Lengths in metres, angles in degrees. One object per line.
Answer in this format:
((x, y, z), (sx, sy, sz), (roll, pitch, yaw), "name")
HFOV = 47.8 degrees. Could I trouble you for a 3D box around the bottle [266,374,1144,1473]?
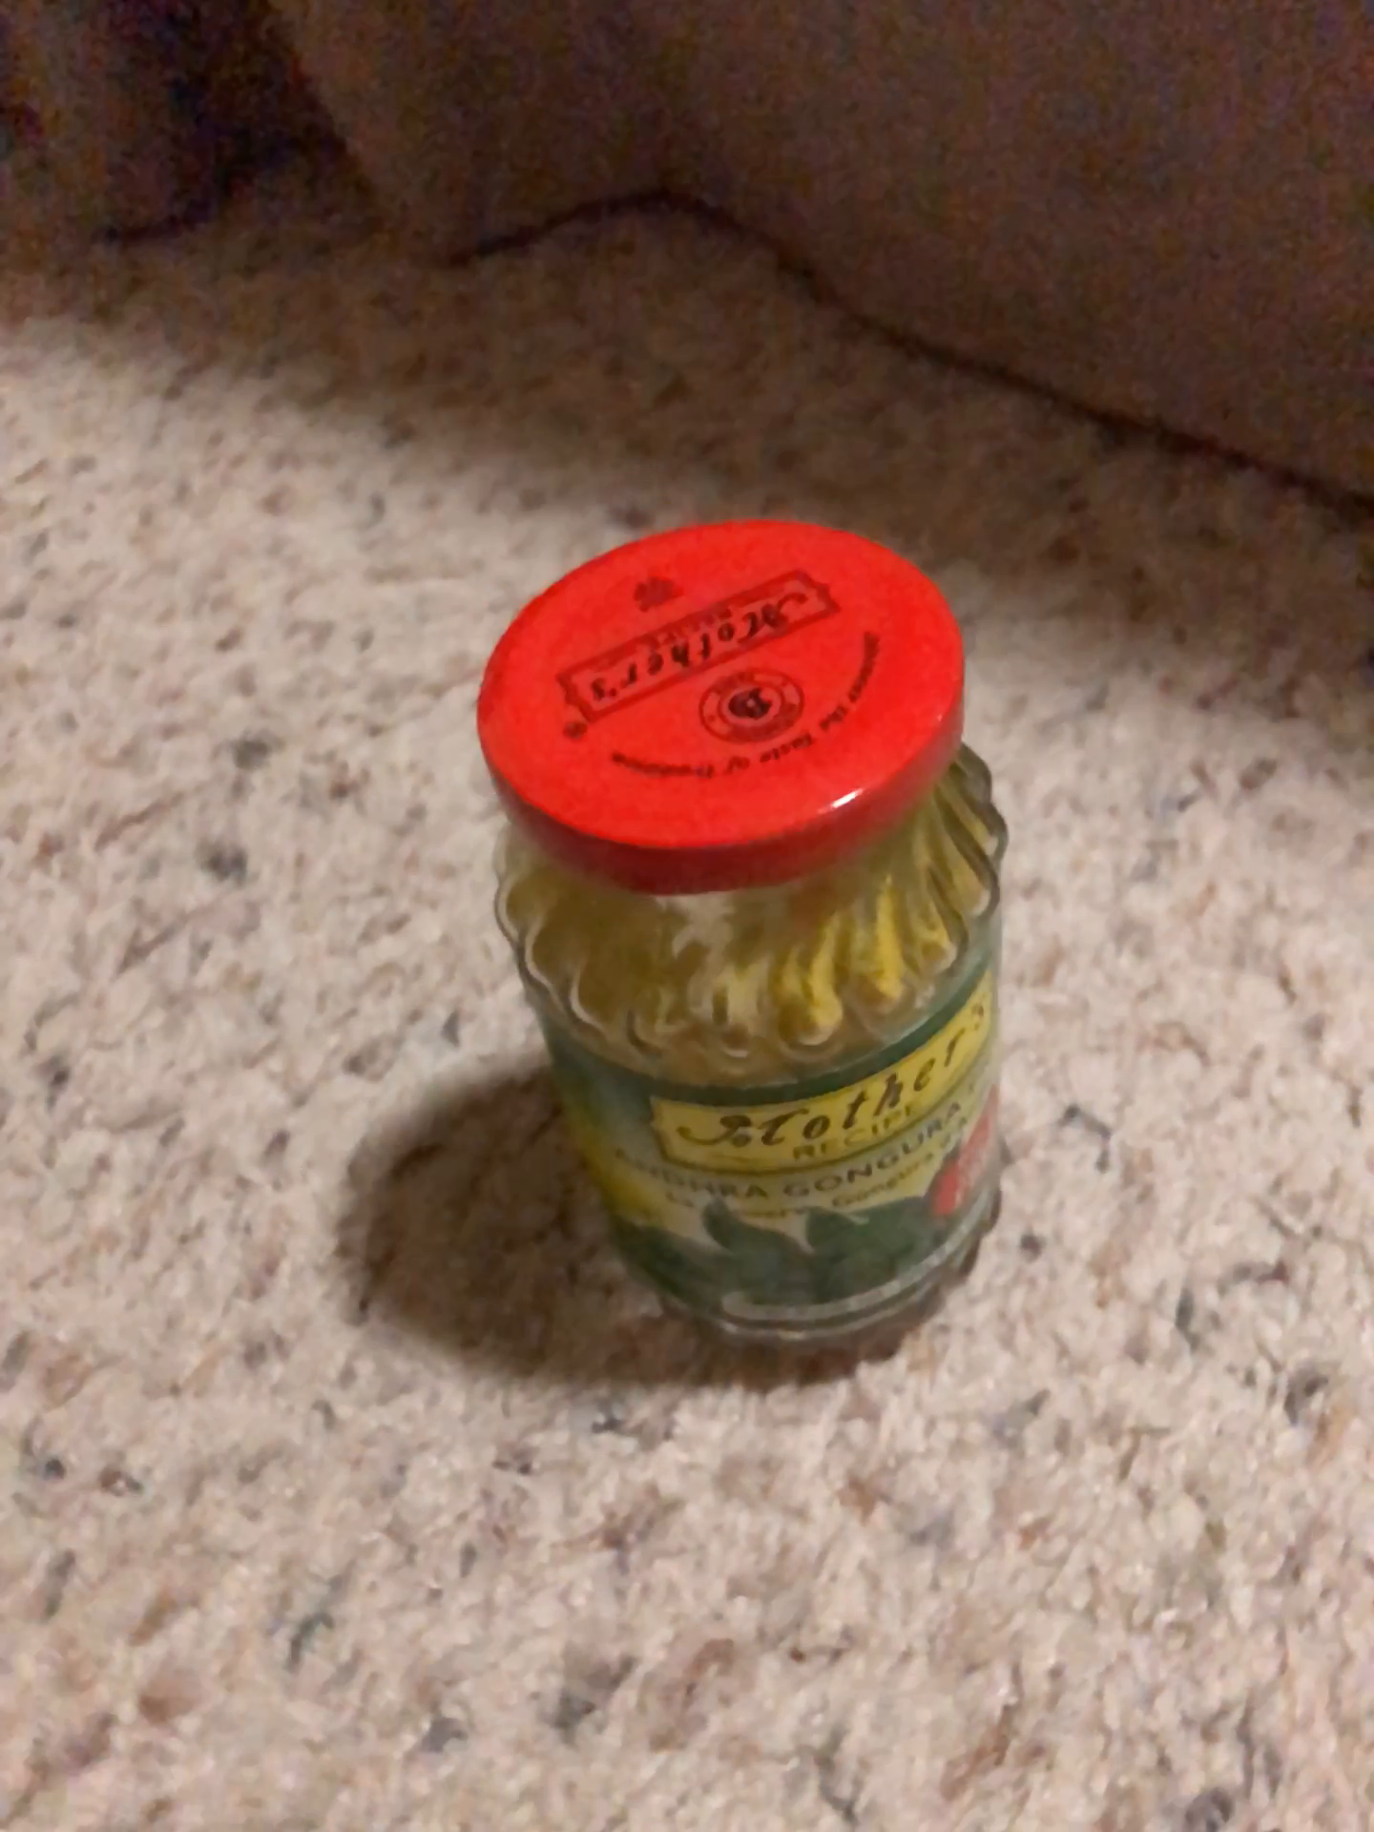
((0.004, 0.006, 0.201), (0.070, 0.110, 0.070), (-5, 50, 6), "bottle")
